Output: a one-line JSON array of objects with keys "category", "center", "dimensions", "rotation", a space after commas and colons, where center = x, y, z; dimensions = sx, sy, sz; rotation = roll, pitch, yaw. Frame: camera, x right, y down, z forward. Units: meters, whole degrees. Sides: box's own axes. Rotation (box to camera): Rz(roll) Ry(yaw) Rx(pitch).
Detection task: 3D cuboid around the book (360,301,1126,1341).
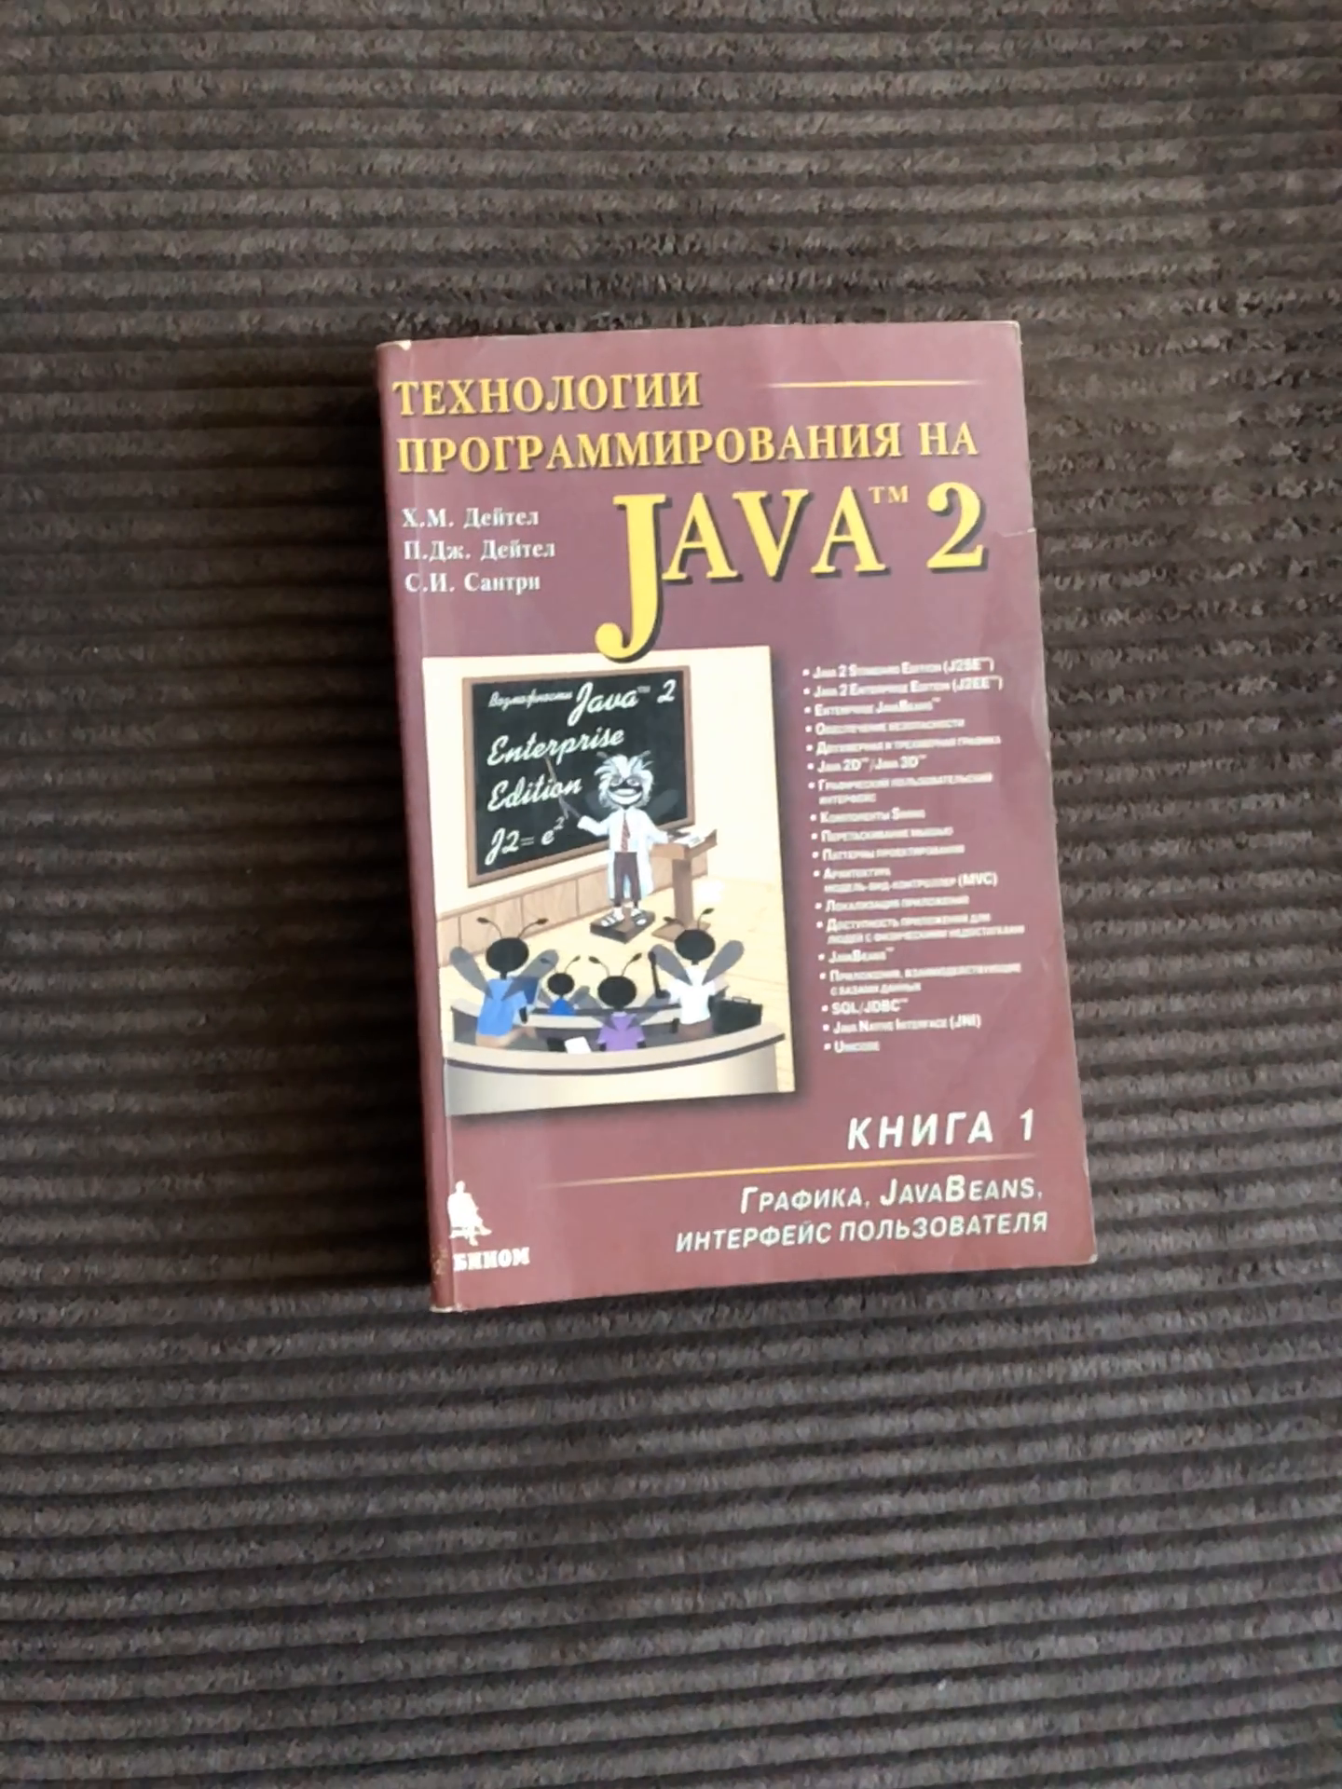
[{"category": "book", "center": [0.015, -0.021, 0.380], "dimensions": [0.165, 0.050, 0.240], "rotation": [-4, 86, -5]}]
